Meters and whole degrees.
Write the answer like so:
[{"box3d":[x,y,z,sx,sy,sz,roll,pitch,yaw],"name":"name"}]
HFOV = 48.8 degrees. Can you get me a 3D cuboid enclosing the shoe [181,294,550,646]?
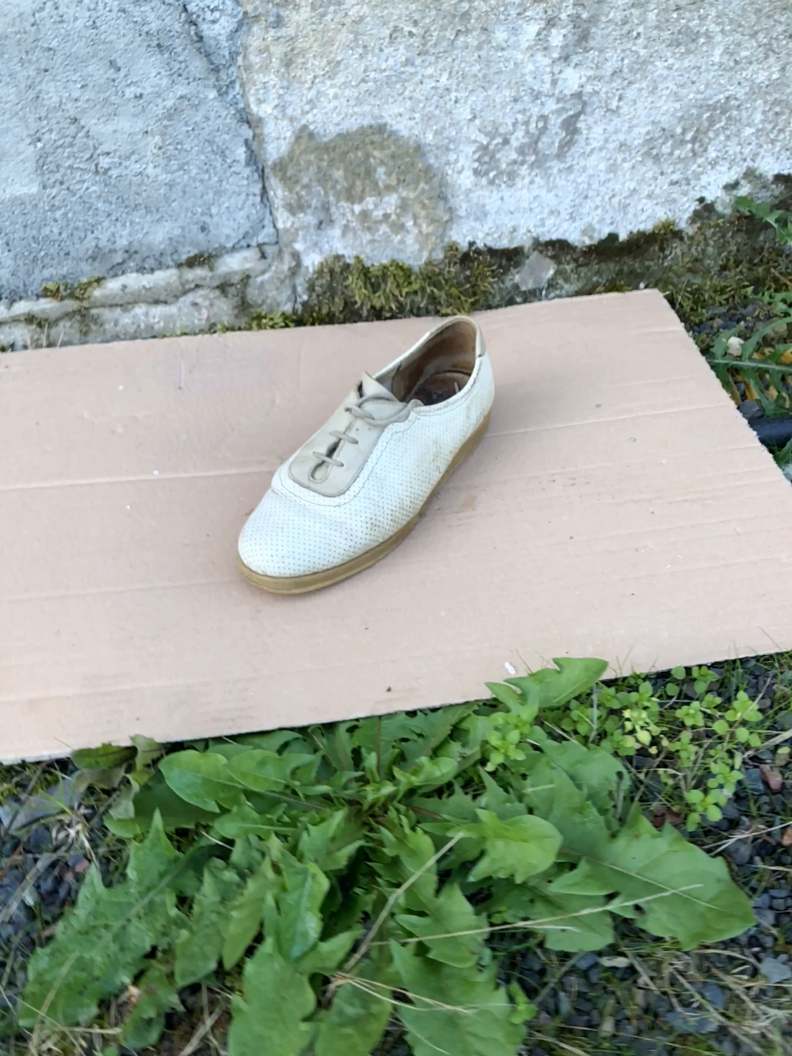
[{"box3d":[-0.006,-0.052,0.598,0.090,0.089,0.261,25,53,33],"name":"shoe"}]
